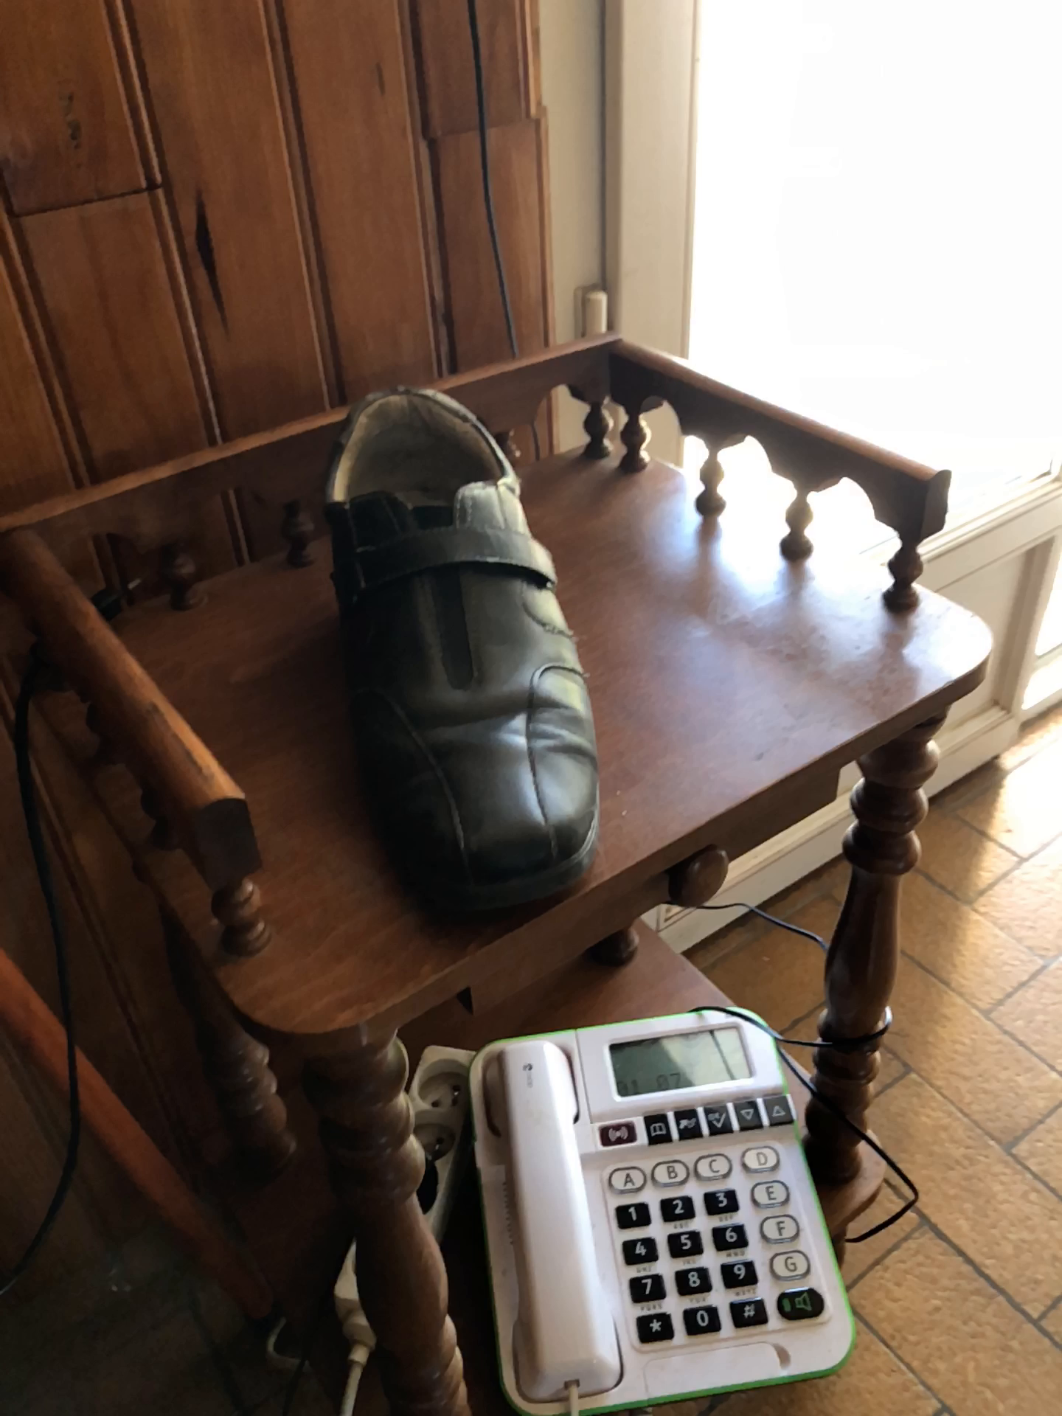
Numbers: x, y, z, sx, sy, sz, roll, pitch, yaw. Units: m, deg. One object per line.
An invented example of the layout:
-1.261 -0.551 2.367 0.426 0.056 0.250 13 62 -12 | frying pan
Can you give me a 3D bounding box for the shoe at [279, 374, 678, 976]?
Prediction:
-0.032 -0.033 0.464 0.100 0.099 0.251 -10 37 -9 | shoe
